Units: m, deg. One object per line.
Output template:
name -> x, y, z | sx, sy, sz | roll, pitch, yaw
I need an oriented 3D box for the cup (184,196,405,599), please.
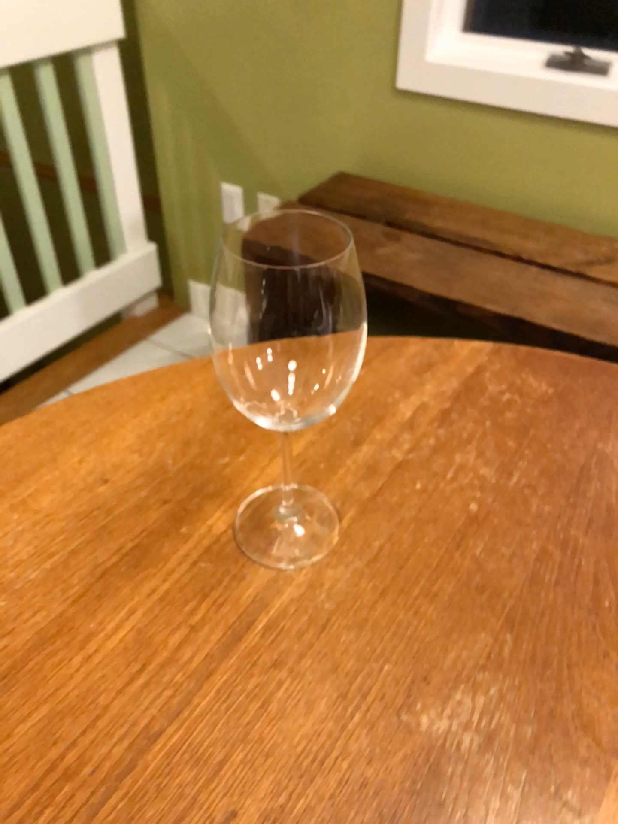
cup -> -0.013, -0.002, 0.456 | 0.097, 0.240, 0.101 | 0, 39, 0
